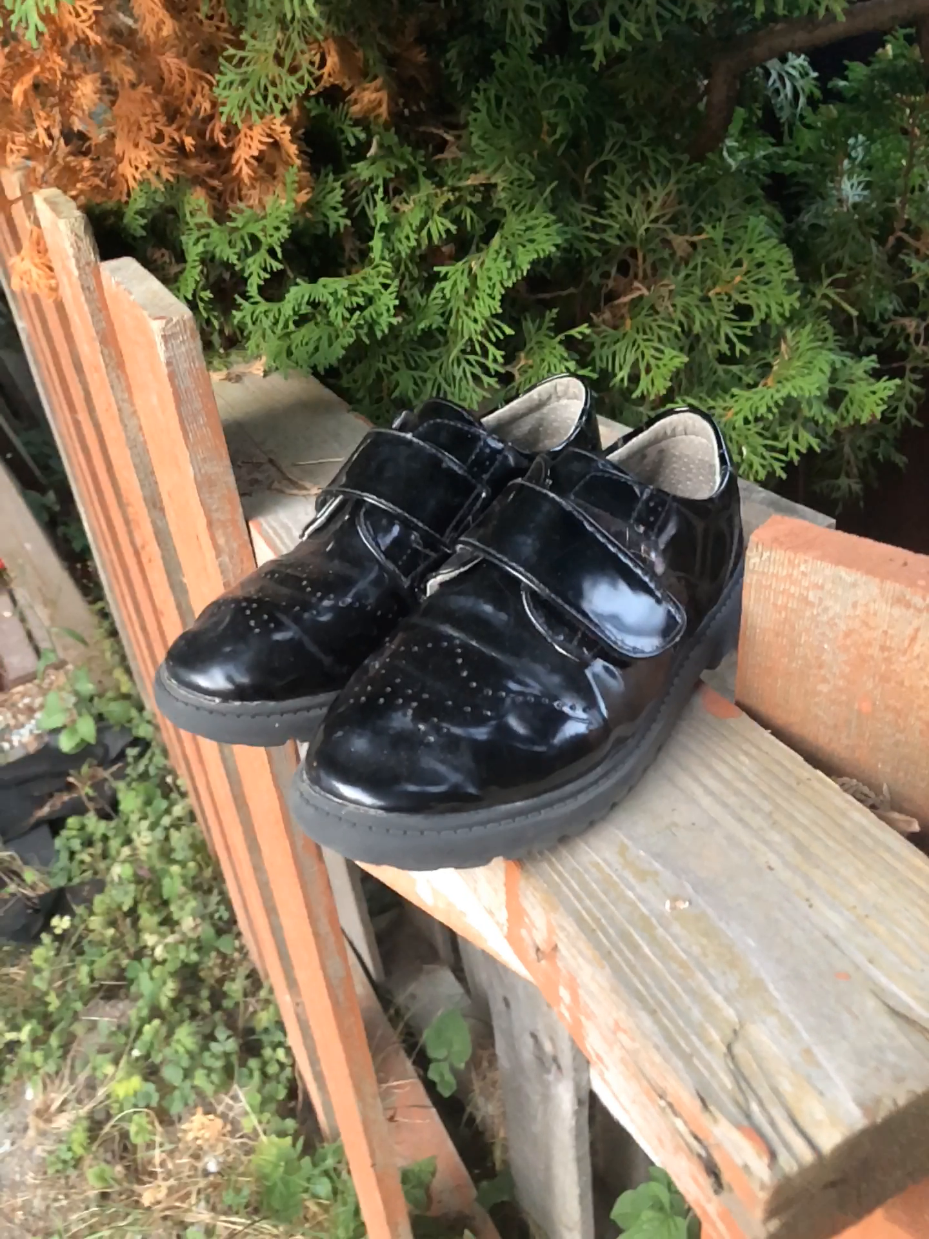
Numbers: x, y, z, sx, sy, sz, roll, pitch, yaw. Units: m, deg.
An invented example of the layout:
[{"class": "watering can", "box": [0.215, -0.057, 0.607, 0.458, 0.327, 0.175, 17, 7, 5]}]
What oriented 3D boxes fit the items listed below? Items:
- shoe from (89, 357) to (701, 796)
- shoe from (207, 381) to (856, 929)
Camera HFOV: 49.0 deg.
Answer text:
[{"class": "shoe", "box": [-0.012, -0.035, 0.414, 0.090, 0.070, 0.241, 24, 40, 38]}, {"class": "shoe", "box": [0.038, -0.010, 0.351, 0.090, 0.070, 0.231, 22, 39, 35]}]
